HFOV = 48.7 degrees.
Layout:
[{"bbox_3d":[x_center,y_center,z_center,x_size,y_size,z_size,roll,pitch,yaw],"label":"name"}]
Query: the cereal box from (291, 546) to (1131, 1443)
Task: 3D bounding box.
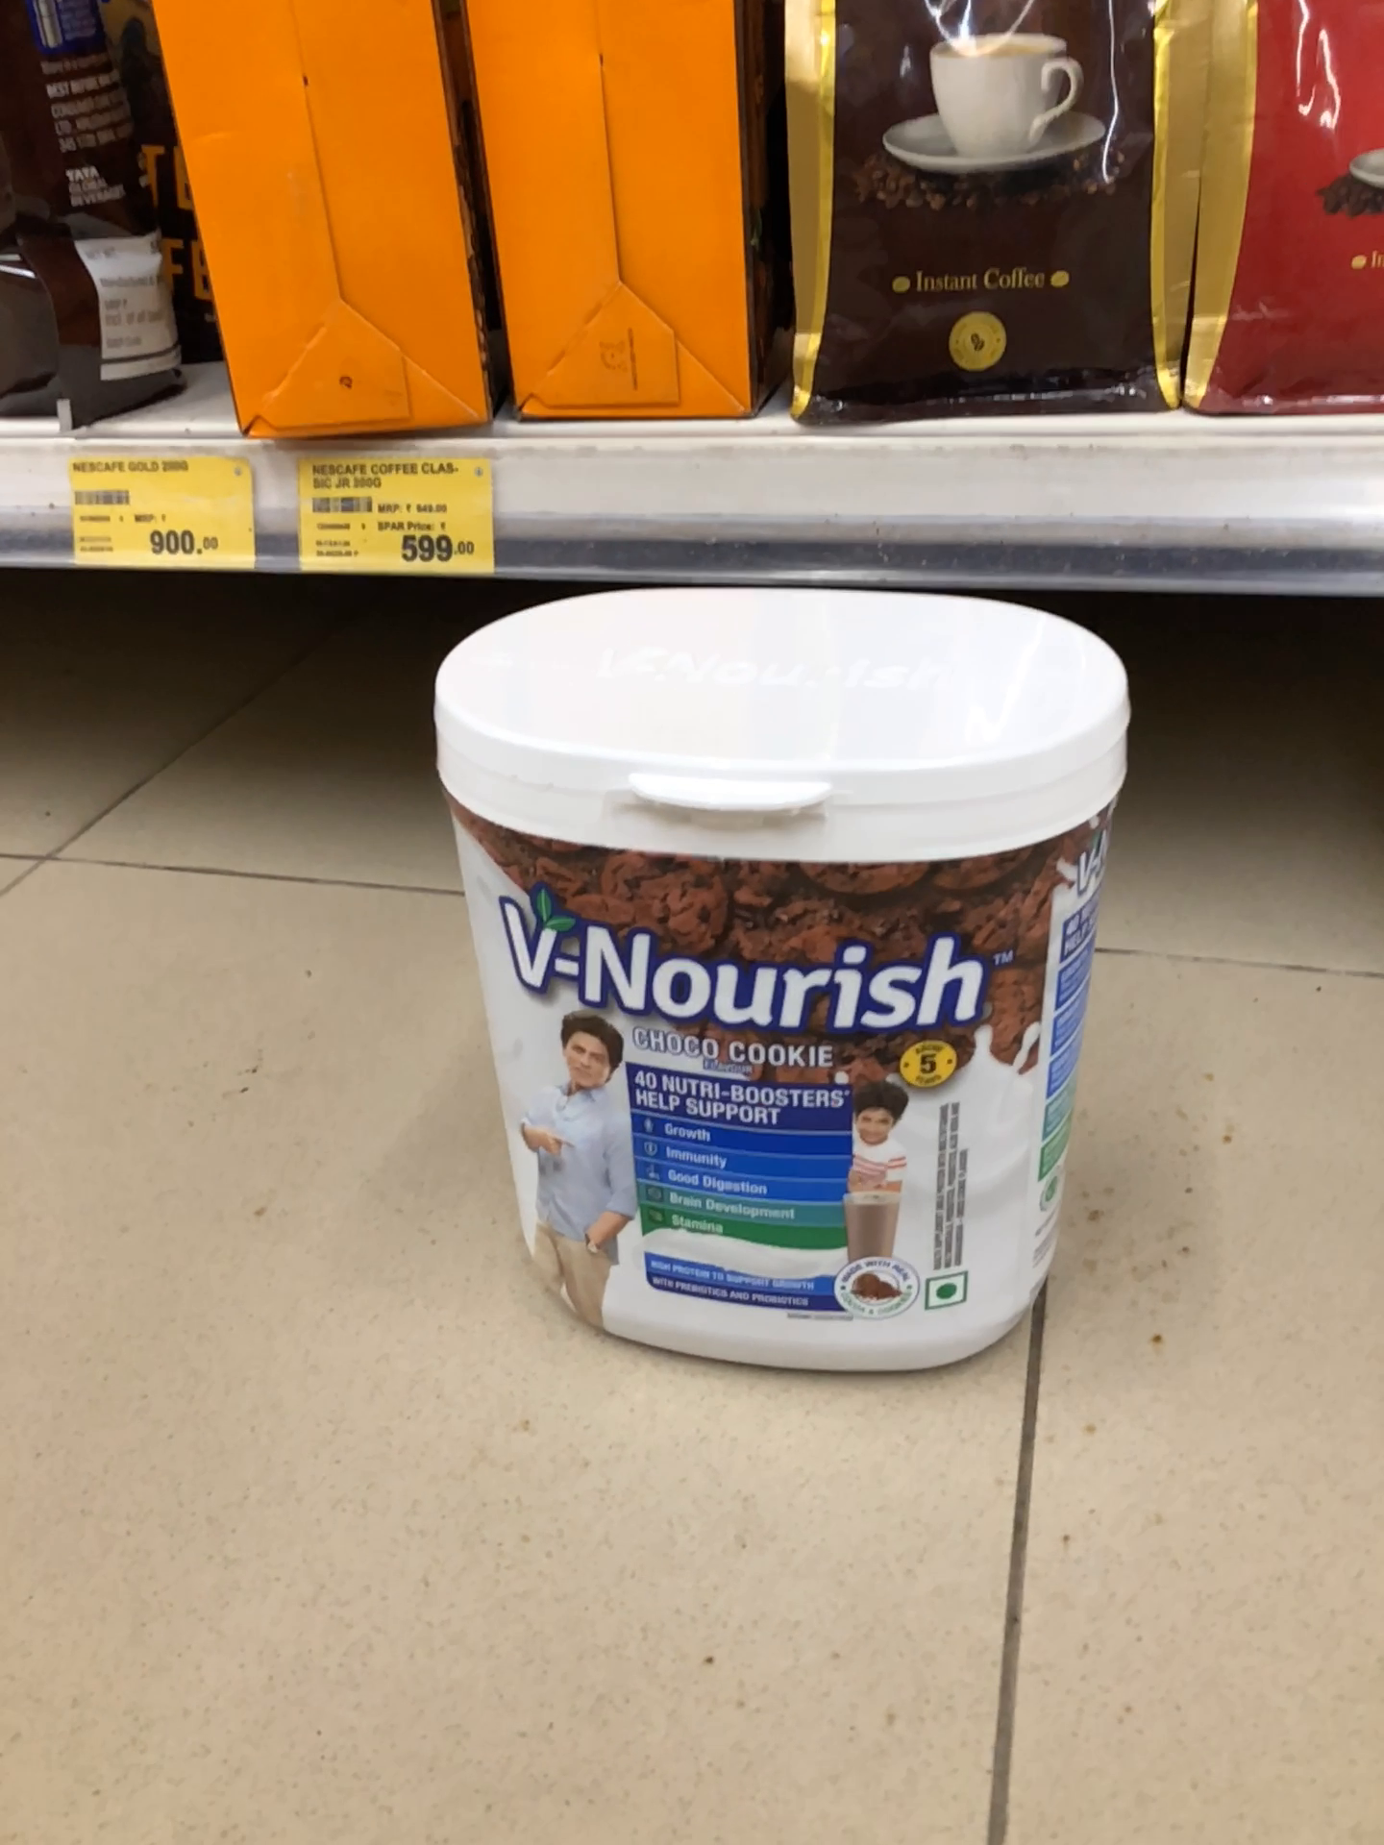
[{"bbox_3d":[0.014,0.010,0.328,0.140,0.149,0.101,4,31,13],"label":"cereal box"}]
